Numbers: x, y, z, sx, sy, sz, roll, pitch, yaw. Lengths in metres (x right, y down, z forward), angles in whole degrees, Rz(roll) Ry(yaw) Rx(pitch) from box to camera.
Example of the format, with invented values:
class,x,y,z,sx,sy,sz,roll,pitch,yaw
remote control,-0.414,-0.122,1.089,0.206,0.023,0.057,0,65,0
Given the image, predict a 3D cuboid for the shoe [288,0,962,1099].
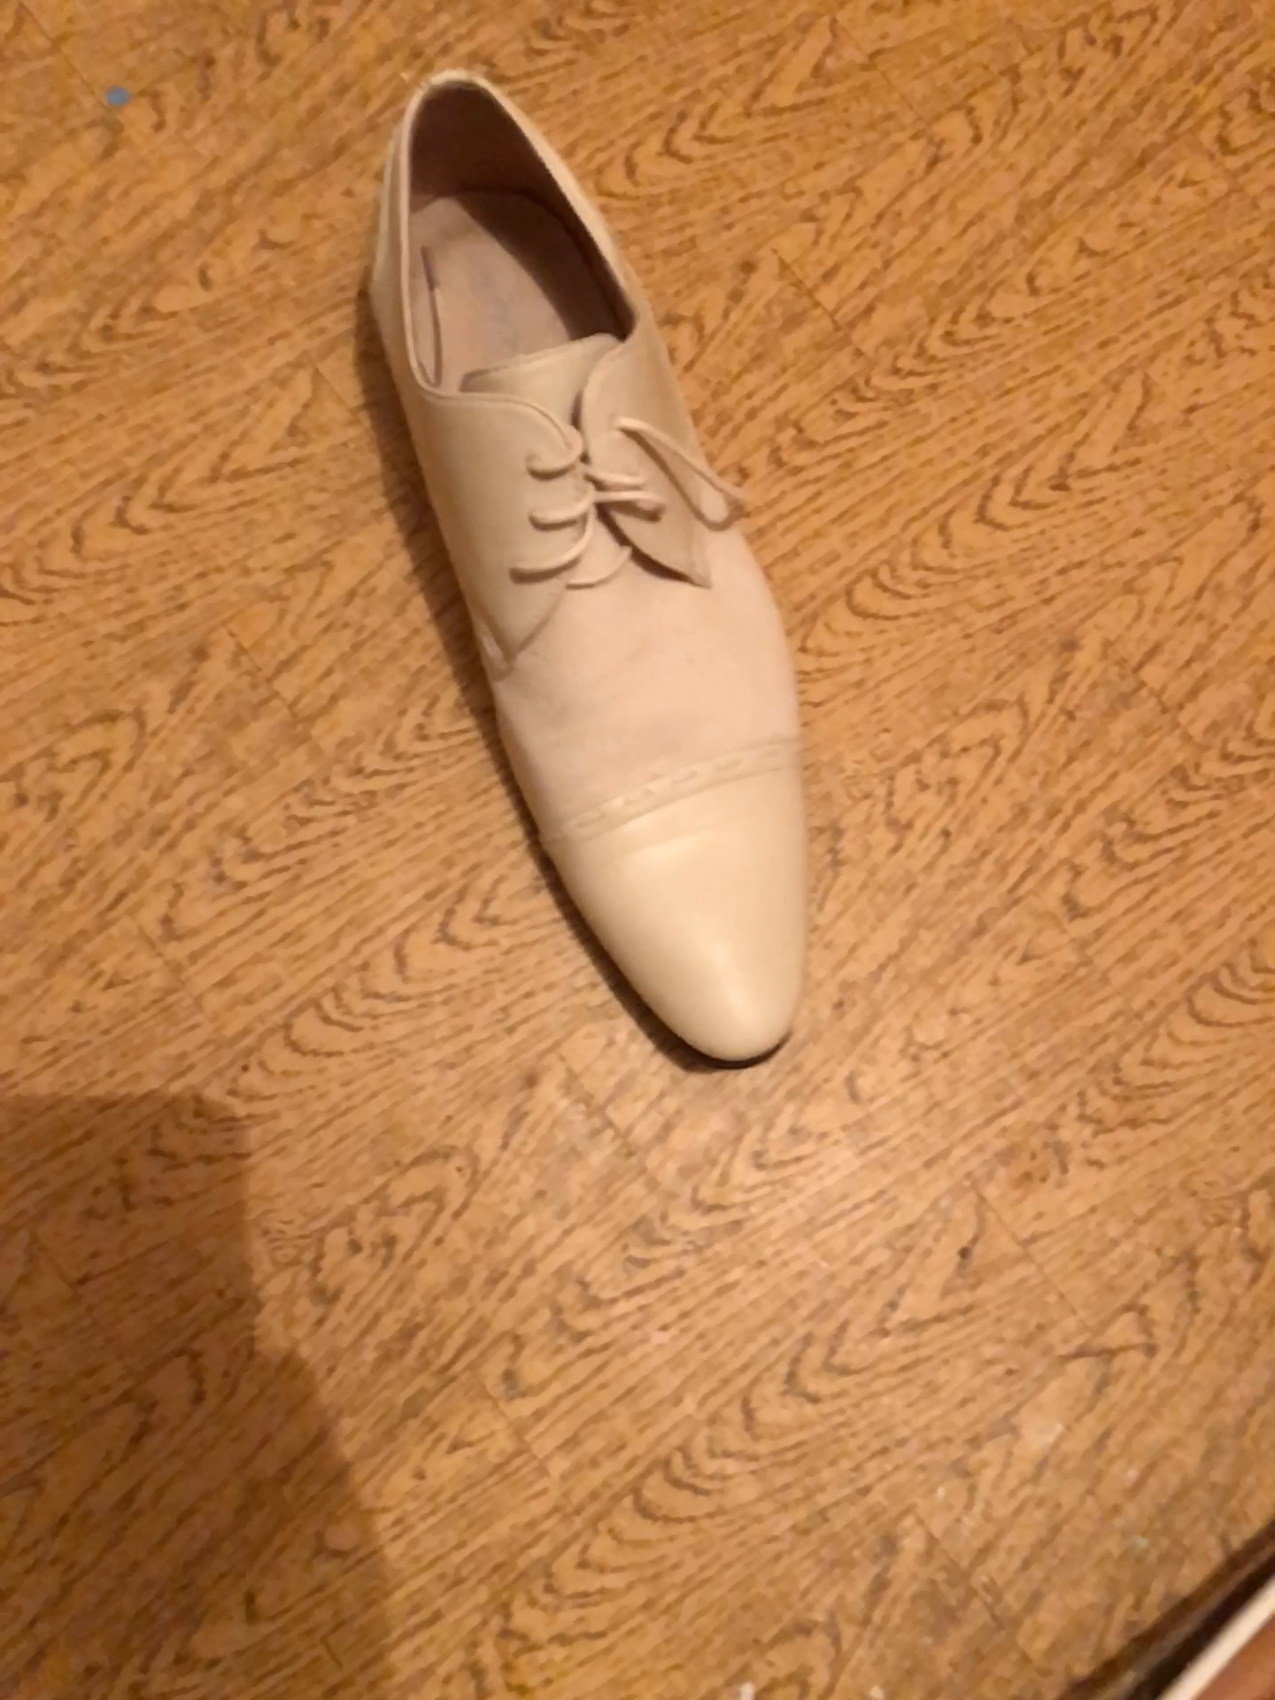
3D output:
class,x,y,z,sx,sy,sz,roll,pitch,yaw
shoe,-0.011,-0.088,0.440,0.100,0.100,0.310,-17,82,-7
